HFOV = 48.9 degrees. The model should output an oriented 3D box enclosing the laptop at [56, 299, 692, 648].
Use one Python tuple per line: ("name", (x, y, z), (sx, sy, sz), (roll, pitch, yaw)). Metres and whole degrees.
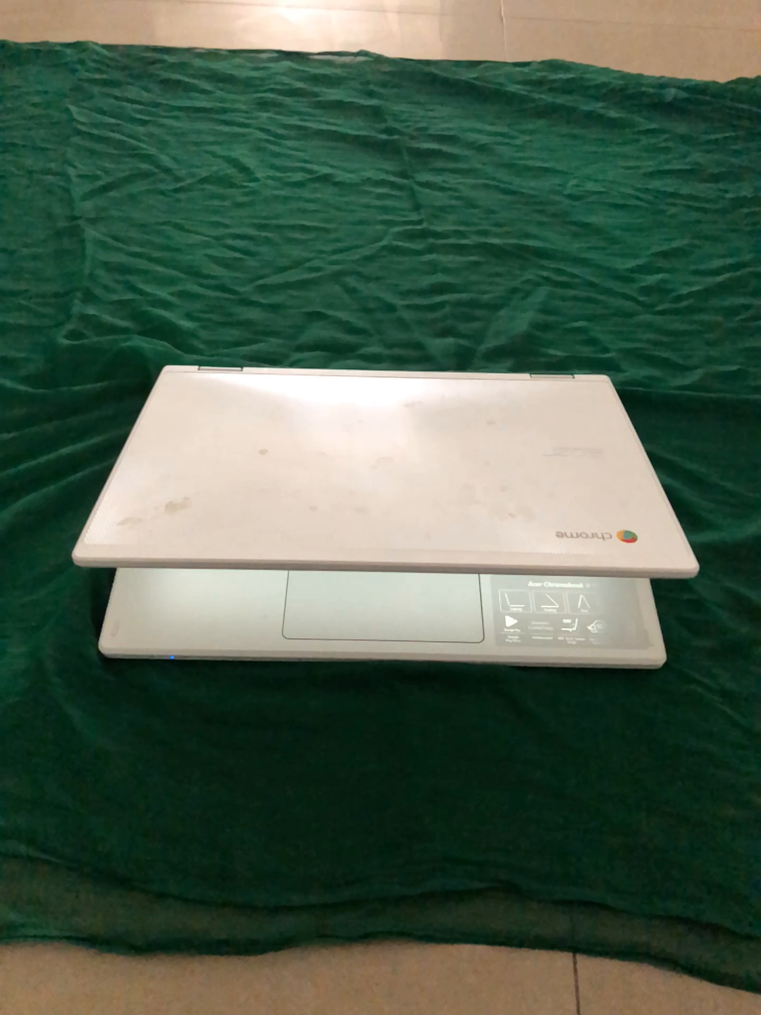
("laptop", (0.000, -0.026, 0.455), (0.281, 0.065, 0.194), (0, 51, 1))
